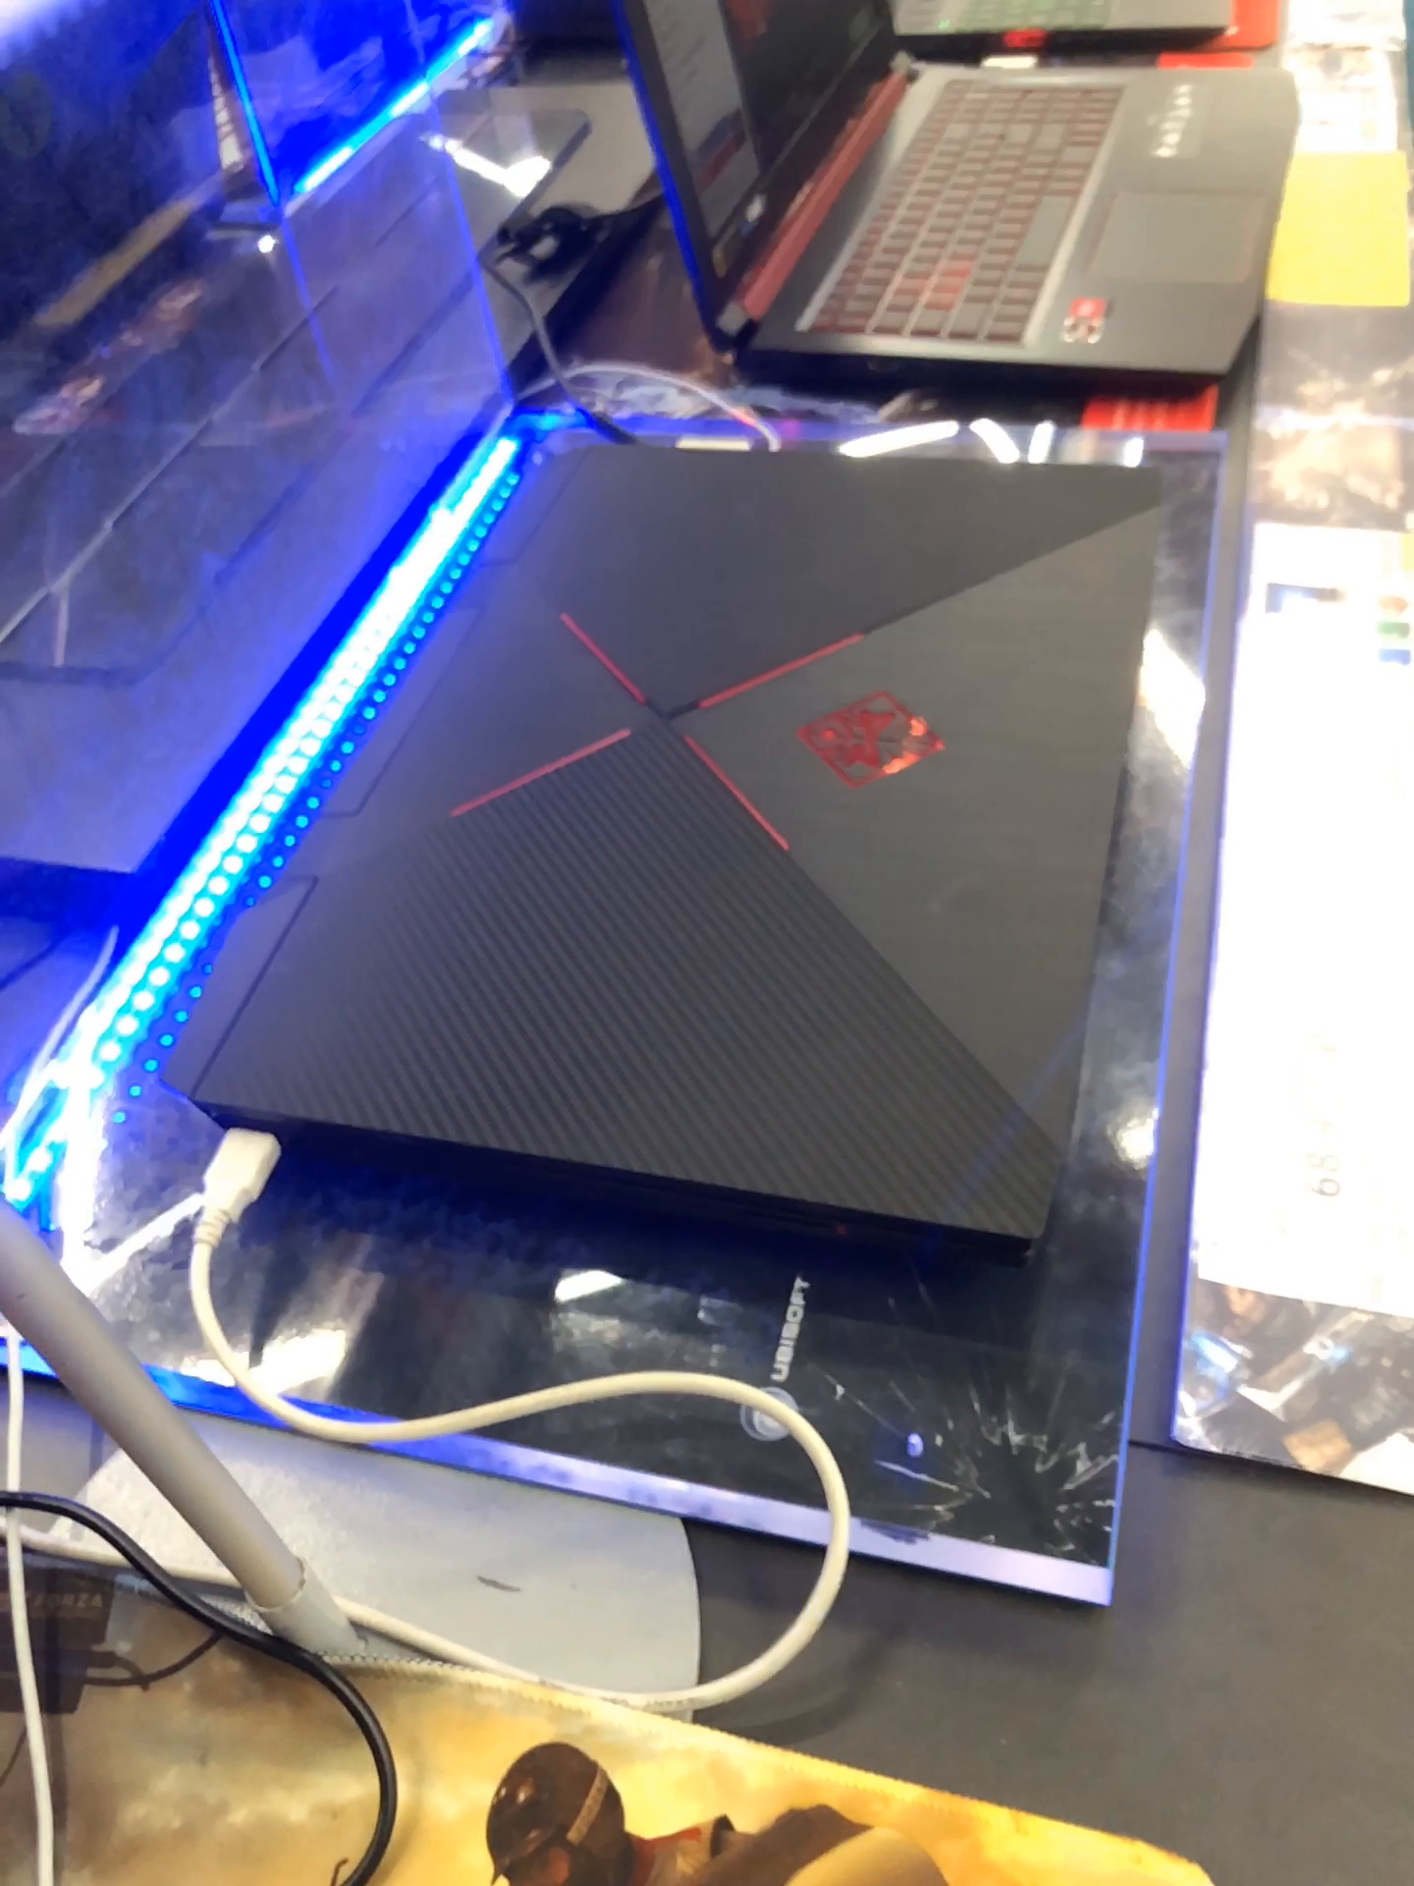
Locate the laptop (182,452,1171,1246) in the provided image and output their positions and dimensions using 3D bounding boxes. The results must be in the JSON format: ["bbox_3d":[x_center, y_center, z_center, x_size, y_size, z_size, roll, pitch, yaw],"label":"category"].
[{"bbox_3d":[0.015,-0.067,0.525,0.237,0.003,0.351,8,49,16],"label":"laptop"}]
